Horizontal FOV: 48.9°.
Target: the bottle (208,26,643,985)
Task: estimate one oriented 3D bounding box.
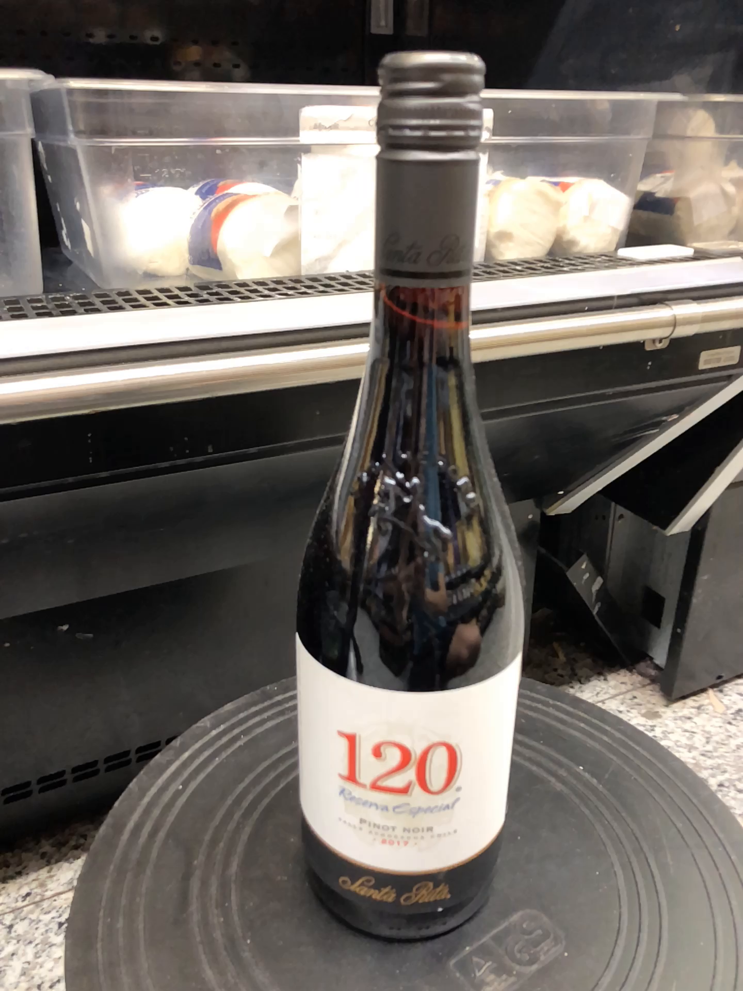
[{"bbox_3d":[0.014,0.016,0.269,0.090,0.288,0.091,1,24,0],"label":"bottle"}]
